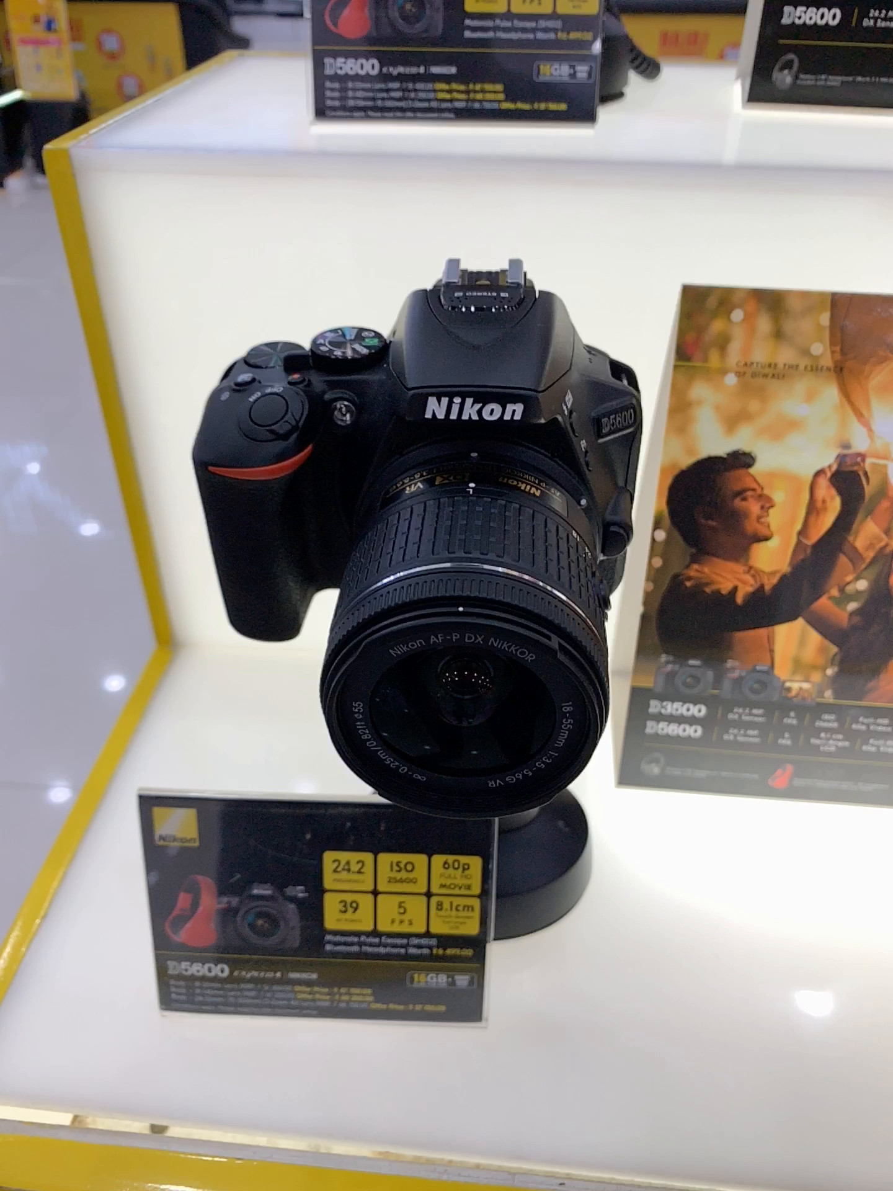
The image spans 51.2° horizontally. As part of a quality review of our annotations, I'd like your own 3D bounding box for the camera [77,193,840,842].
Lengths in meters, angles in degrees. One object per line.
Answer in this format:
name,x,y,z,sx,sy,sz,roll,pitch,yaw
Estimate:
camera,0.005,-0.034,0.237,0.120,0.090,0.161,2,37,2
